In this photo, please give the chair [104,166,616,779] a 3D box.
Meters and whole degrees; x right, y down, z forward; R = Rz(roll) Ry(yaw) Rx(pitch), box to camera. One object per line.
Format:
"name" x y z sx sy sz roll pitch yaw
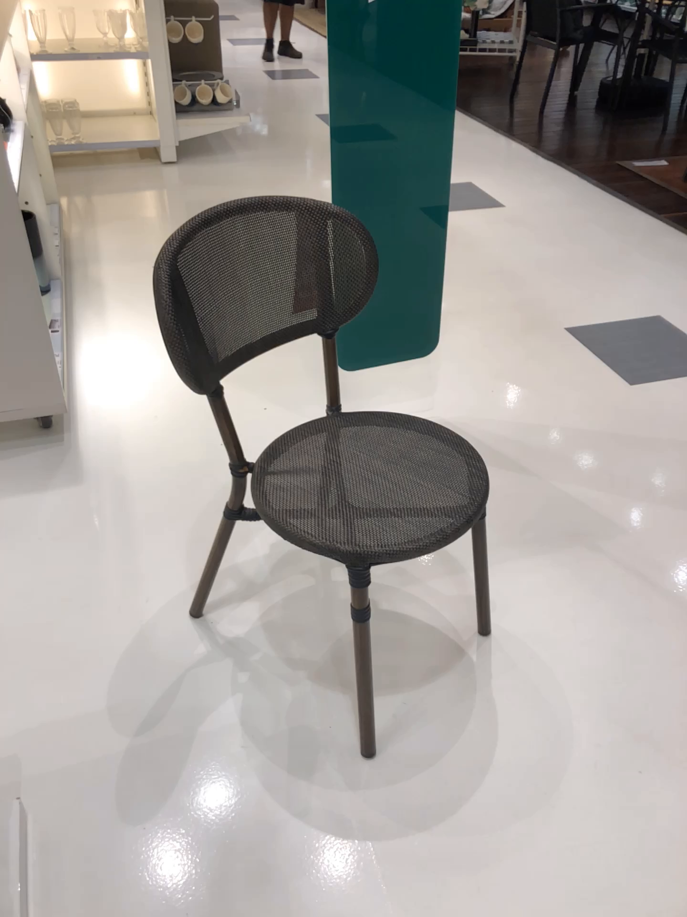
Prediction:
"chair" 0.016 -0.001 1.293 0.552 0.764 0.472 28 44 32
